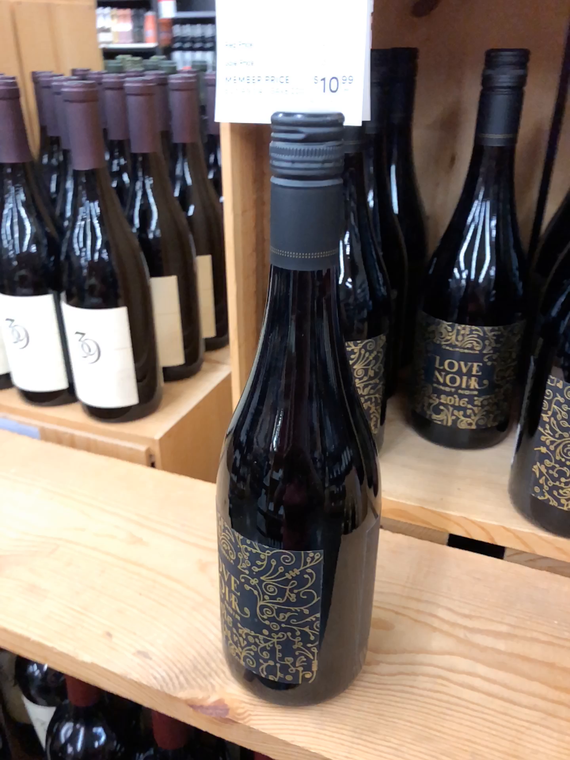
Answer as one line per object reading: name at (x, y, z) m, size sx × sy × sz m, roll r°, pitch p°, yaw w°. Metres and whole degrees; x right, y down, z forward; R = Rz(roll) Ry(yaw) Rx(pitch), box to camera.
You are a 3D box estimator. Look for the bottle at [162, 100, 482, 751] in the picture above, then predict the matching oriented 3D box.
bottle at (0.009, 0.027, 0.298) m, size 0.085 × 0.284 × 0.090 m, roll 0°, pitch 27°, yaw 0°
